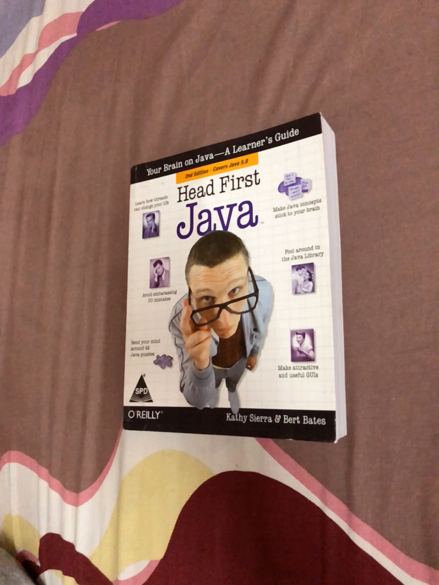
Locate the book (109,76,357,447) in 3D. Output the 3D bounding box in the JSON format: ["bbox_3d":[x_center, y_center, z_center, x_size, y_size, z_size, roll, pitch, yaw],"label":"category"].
[{"bbox_3d":[0.005,-0.018,0.398,0.191,0.050,0.260,-6,77,30],"label":"book"}]
